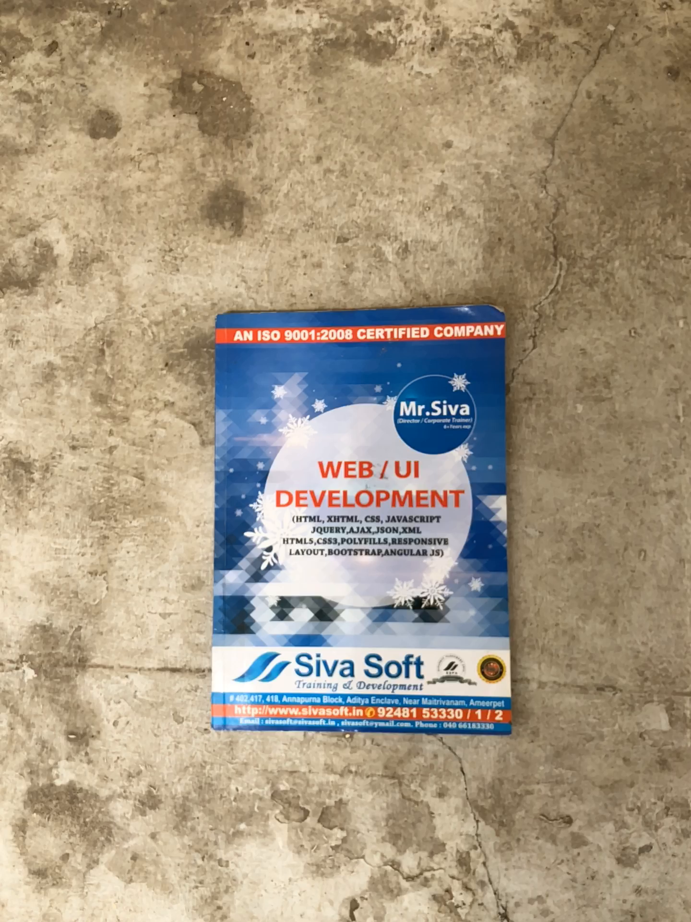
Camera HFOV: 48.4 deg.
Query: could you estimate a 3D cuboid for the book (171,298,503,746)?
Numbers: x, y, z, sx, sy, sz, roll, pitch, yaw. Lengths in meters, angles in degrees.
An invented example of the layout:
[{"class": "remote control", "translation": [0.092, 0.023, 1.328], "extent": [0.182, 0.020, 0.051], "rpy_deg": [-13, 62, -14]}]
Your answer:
[{"class": "book", "translation": [-0.006, 0.037, 0.508], "extent": [0.210, 0.030, 0.280], "rpy_deg": [0, 87, 5]}]
